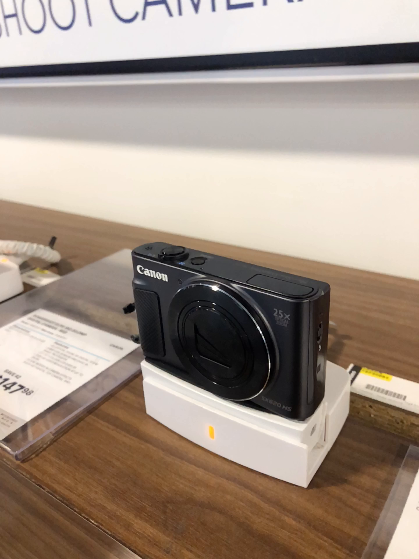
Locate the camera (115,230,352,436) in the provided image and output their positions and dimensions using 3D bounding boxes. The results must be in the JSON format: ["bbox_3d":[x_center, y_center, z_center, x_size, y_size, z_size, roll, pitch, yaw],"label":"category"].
[{"bbox_3d":[0.007,0.018,0.210,0.100,0.060,0.030,14,27,33],"label":"camera"}]
